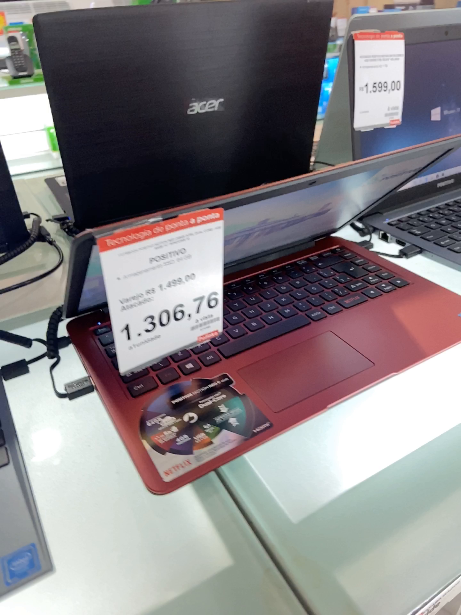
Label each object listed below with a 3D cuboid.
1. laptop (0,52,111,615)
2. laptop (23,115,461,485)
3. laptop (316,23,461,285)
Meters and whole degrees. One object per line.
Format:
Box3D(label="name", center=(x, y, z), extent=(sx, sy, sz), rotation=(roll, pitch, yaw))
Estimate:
Box3D(label="laptop", center=(-0.274, 0.011, 0.227), extent=(0.234, 0.159, 0.286), rotation=(-15, 34, -39))
Box3D(label="laptop", center=(0.037, -0.048, 0.391), extent=(0.321, 0.144, 0.212), rotation=(-20, 35, -24))
Box3D(label="laptop", center=(0.366, -0.219, 0.578), extent=(0.385, 0.207, 0.277), rotation=(-20, 37, -28))
